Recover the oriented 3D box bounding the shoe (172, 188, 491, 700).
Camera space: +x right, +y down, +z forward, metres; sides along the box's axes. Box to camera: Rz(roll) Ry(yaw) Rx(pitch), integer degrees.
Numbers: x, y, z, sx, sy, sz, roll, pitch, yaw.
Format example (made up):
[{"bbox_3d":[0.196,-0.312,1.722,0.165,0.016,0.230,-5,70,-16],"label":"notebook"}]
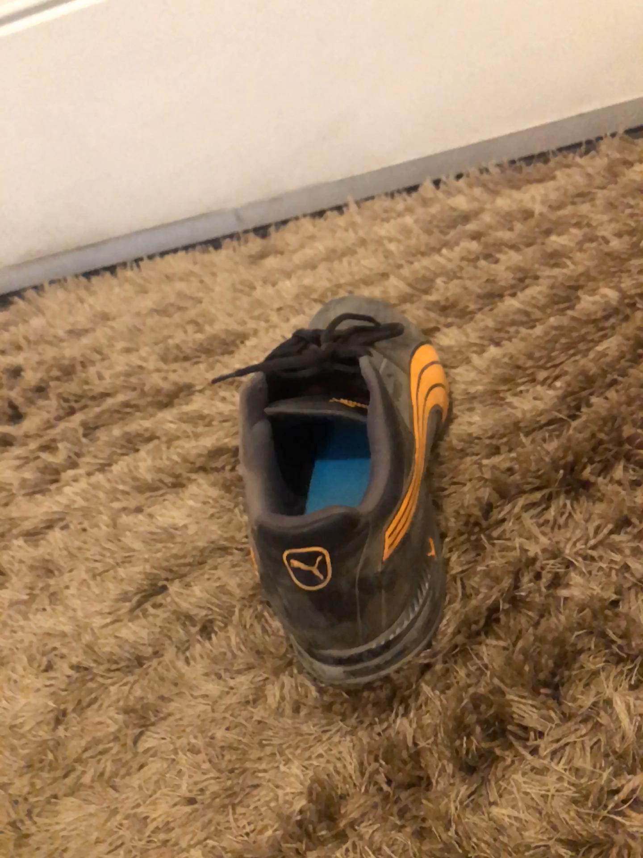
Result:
[{"bbox_3d":[0.017,-0.011,0.431,0.122,0.110,0.301,-9,44,12],"label":"shoe"}]
